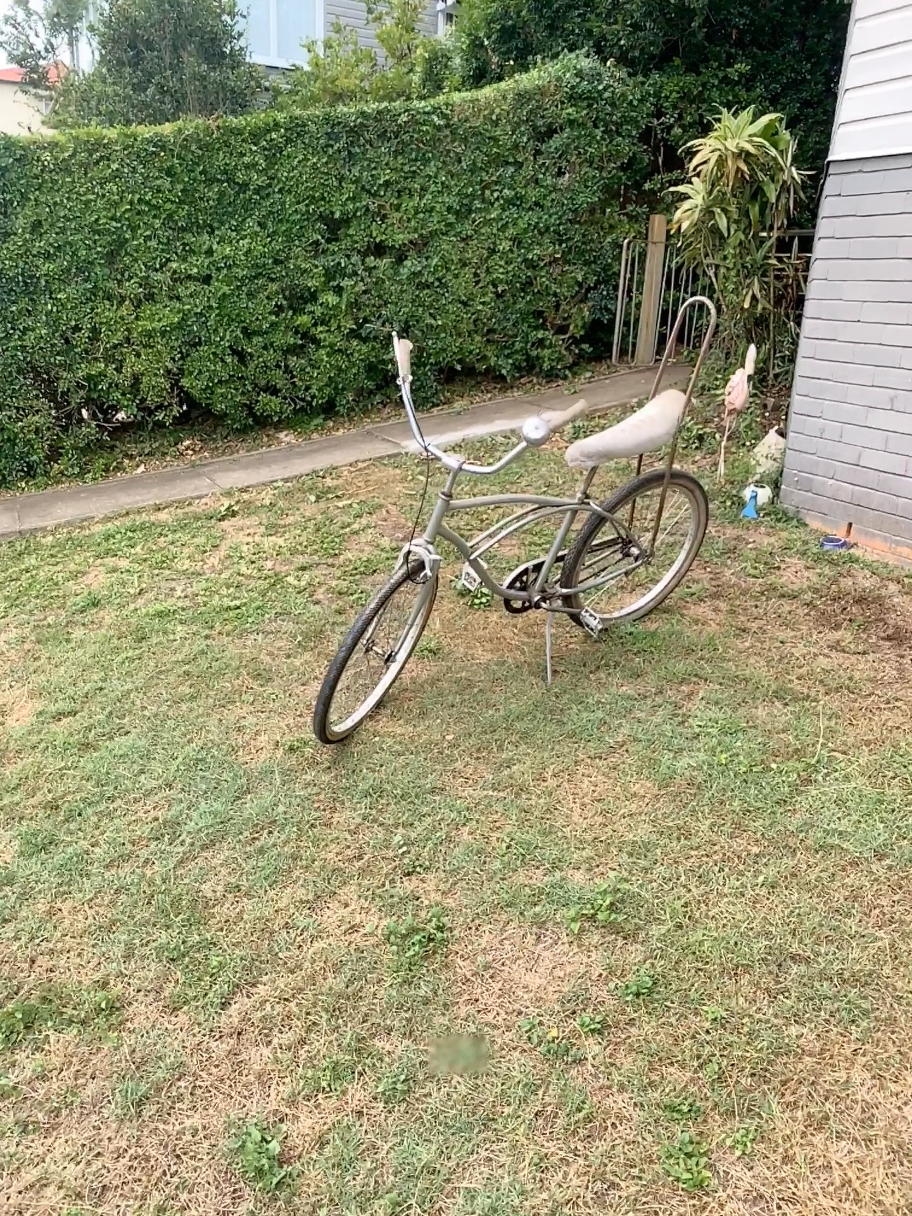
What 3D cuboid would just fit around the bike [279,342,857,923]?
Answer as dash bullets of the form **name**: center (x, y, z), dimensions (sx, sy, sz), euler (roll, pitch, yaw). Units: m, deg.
- **bike**: center (0.340, -0.096, 2.893), dimensions (1.602, 0.991, 0.803), euler (-21, 28, -32)
